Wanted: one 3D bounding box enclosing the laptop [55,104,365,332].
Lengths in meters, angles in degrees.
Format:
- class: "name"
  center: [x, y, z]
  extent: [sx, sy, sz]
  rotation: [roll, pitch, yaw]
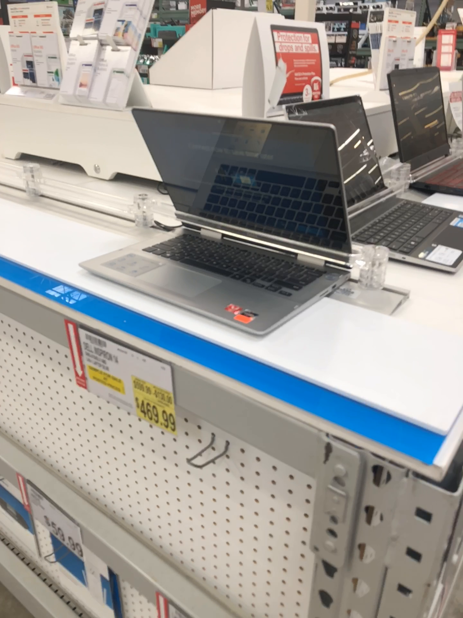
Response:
- class: "laptop"
  center: [-0.029, -0.149, 0.666]
  extent: [0.319, 0.198, 0.223]
  rotation: [19, 32, 33]
